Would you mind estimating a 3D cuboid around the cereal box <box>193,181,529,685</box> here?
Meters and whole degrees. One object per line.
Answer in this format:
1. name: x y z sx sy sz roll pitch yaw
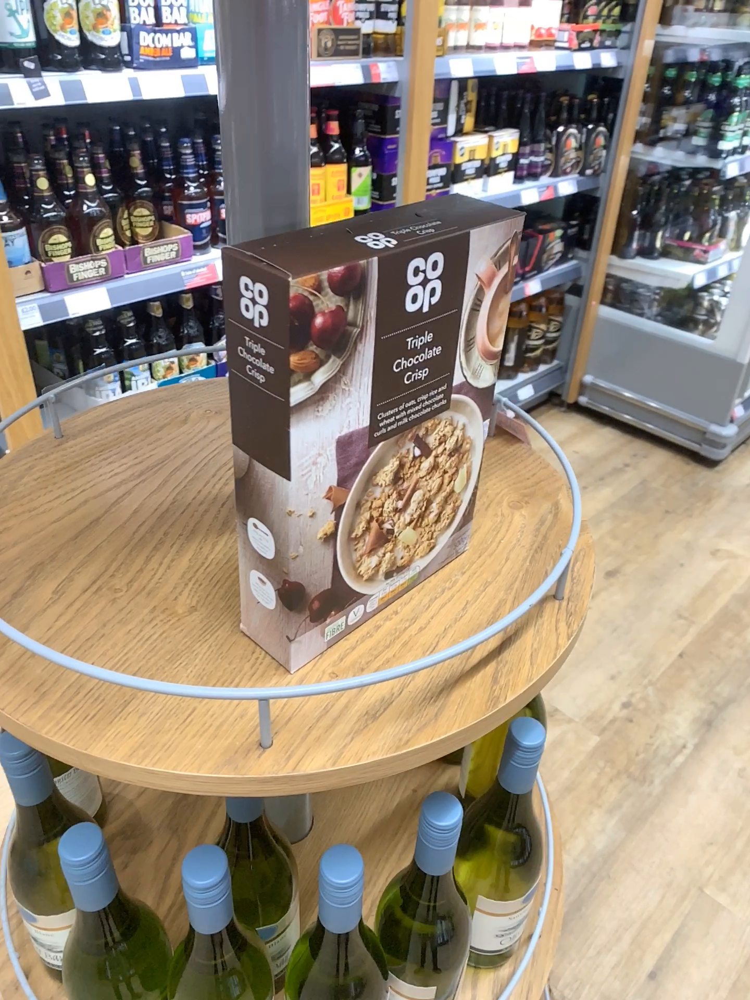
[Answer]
1. cereal box: -0.004 -0.041 0.455 0.050 0.248 0.191 30 42 33
